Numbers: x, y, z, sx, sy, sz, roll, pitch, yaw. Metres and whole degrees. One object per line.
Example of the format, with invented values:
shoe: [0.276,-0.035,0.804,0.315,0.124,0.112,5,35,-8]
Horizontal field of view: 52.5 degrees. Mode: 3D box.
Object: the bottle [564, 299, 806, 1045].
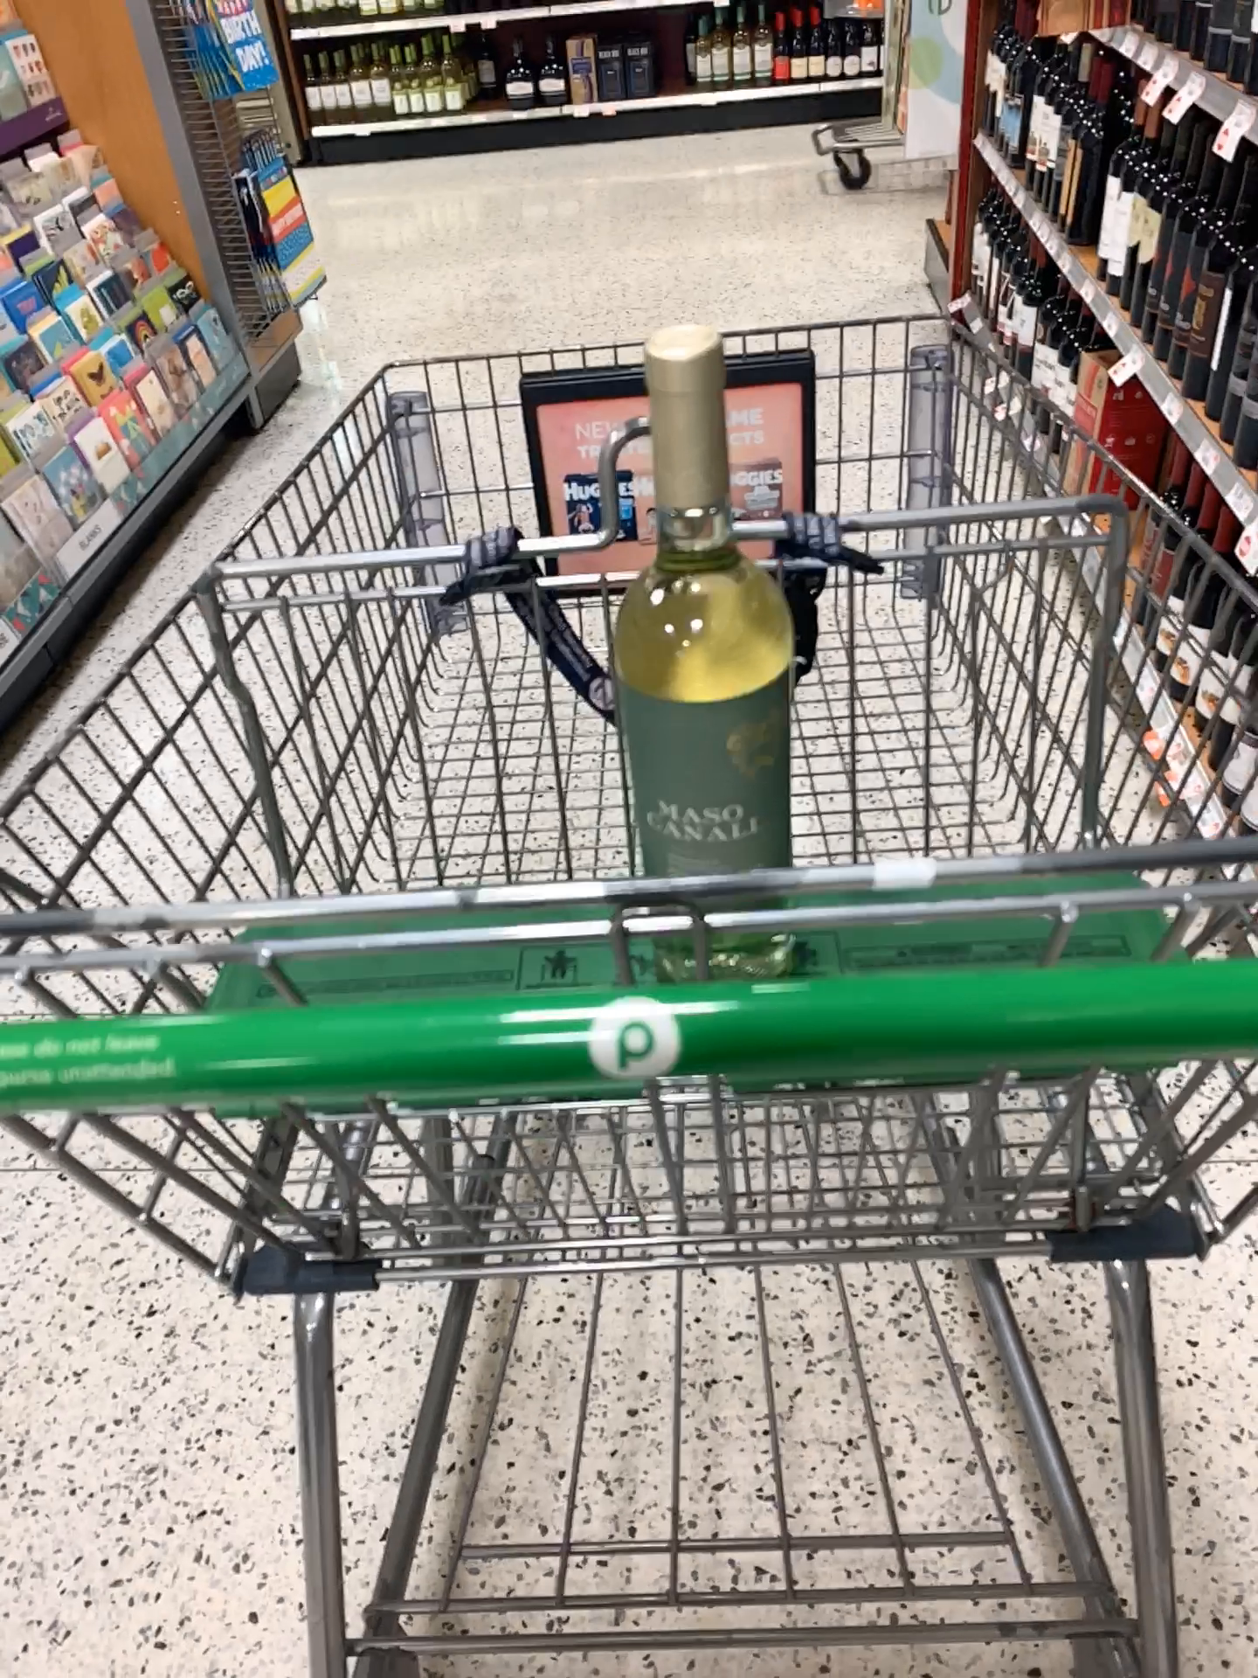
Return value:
bottle: [0.038,-0.056,0.586,0.080,0.336,0.091,0,38,9]
